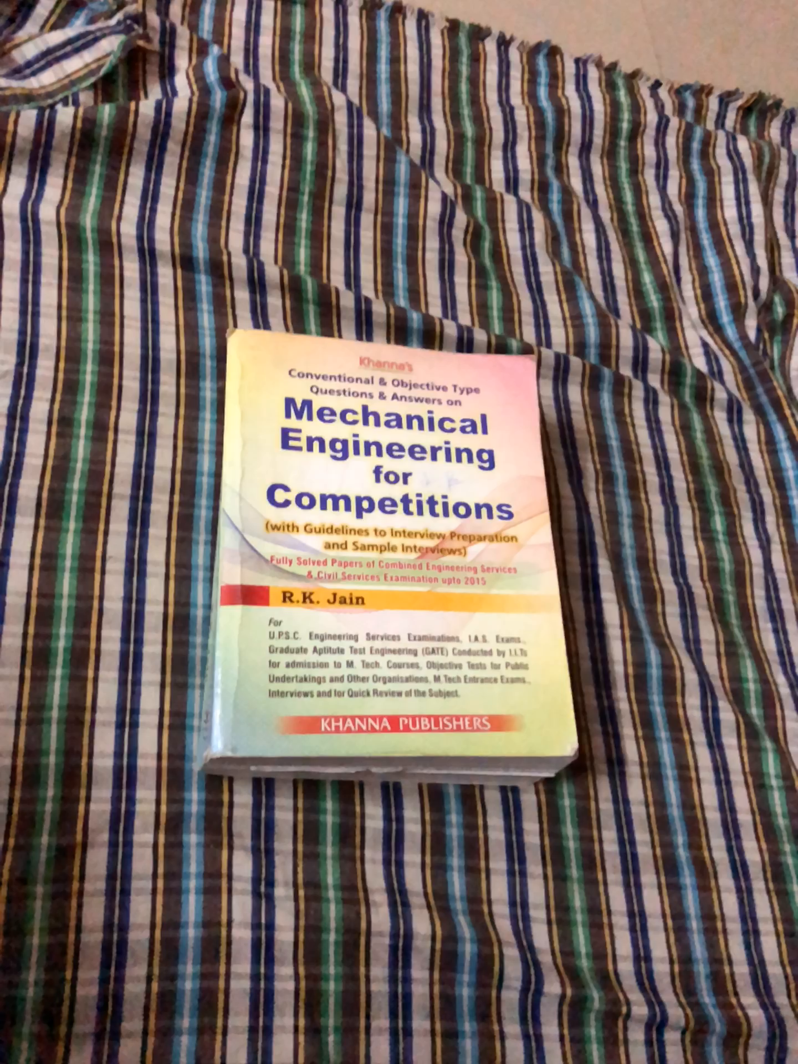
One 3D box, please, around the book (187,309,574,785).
[{"bbox_3d":[-0.016,0.010,0.565,0.210,0.078,0.280,5,65,-14],"label":"book"}]
